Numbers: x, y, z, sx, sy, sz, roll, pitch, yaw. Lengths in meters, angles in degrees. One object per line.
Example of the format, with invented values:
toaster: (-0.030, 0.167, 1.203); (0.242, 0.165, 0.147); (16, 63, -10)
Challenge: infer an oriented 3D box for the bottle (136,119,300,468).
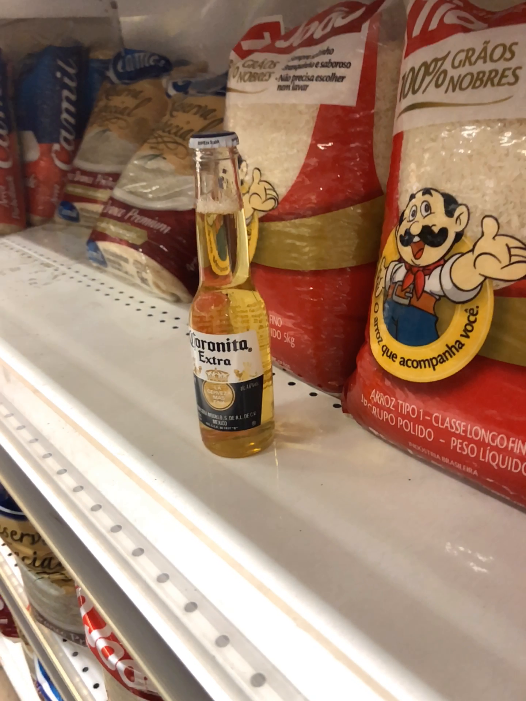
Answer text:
bottle: (-0.020, -0.032, 0.360); (0.060, 0.199, 0.060); (-4, 25, 2)
